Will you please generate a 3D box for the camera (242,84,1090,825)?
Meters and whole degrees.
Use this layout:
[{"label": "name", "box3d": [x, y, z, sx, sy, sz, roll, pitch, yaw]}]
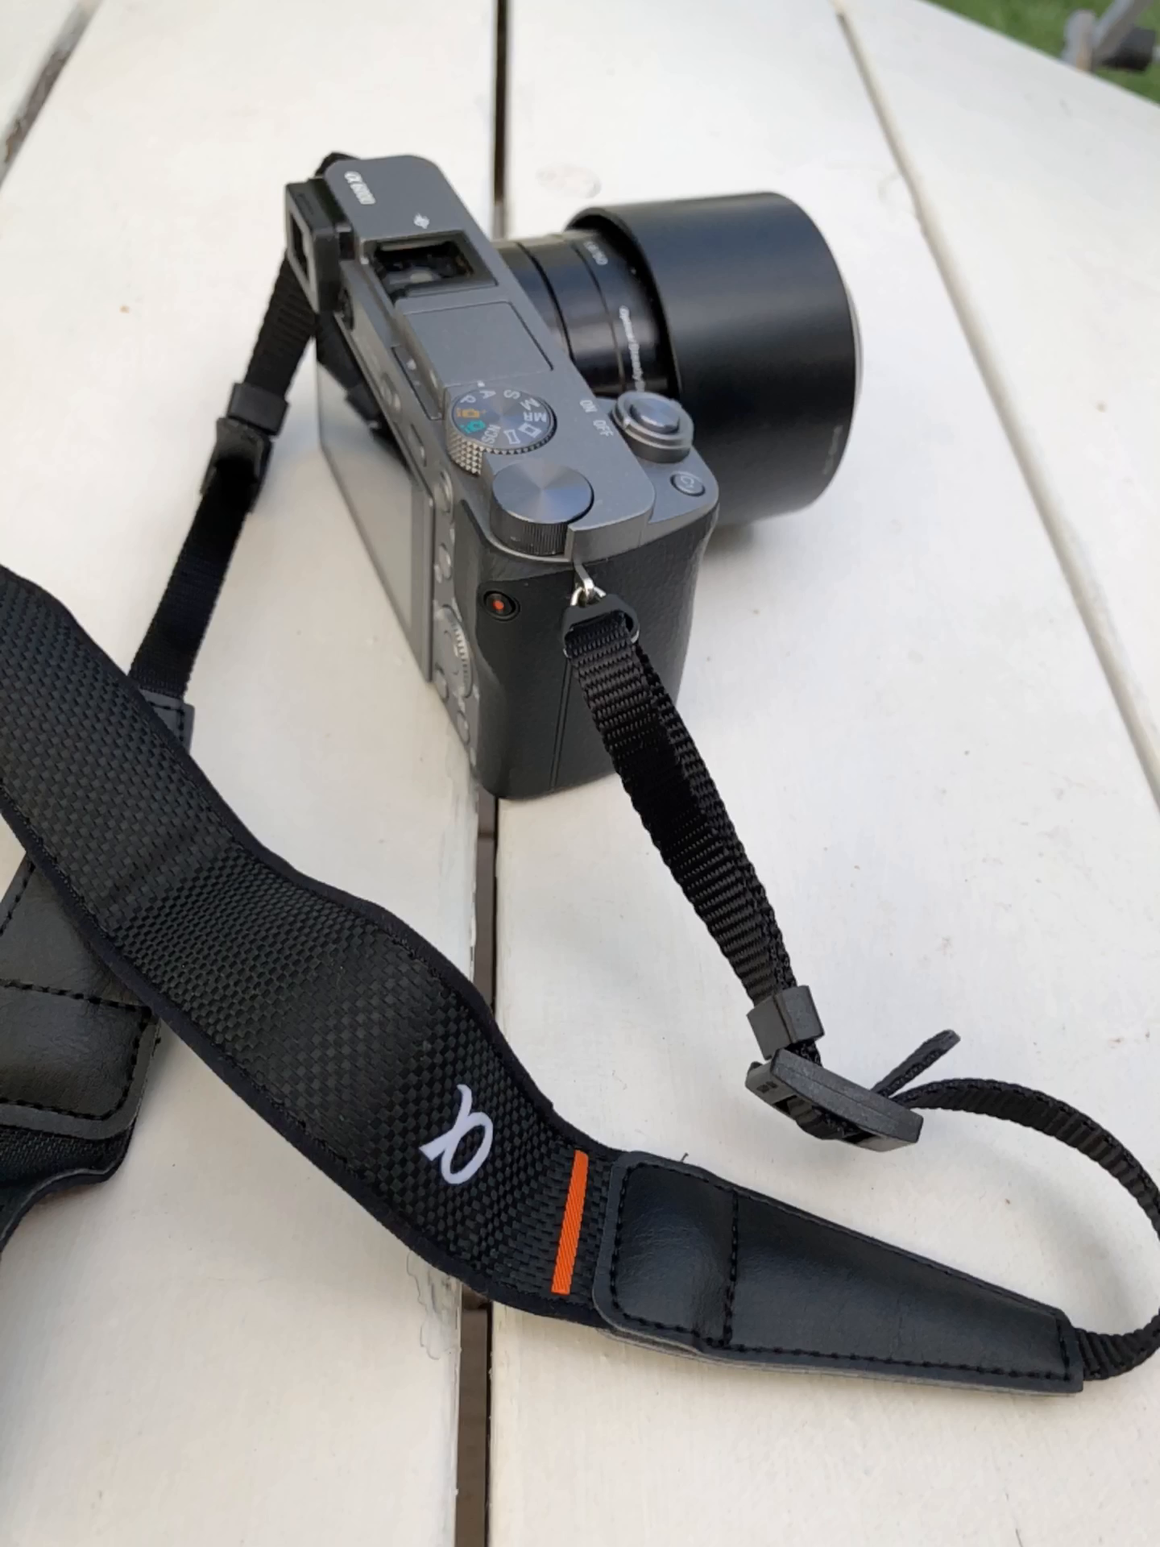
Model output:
[{"label": "camera", "box3d": [0.005, -0.076, 0.269, 0.110, 0.070, 0.140, -14, 51, -21]}]
